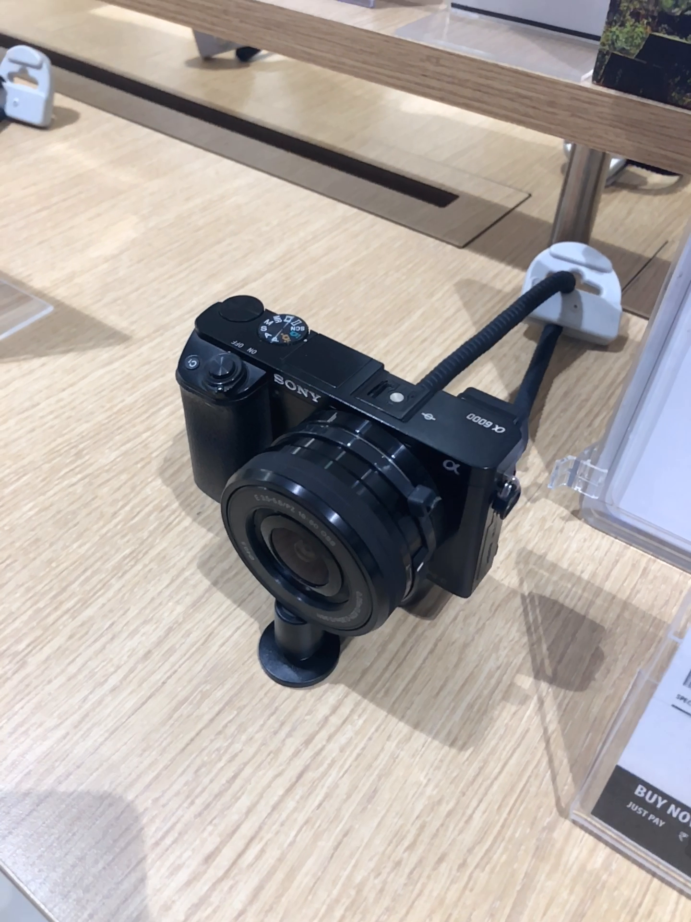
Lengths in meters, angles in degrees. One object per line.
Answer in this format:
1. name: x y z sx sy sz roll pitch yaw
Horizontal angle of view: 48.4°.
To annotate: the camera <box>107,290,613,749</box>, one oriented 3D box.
1. camera: 0.002 0.012 0.247 0.130 0.070 0.070 27 50 24
